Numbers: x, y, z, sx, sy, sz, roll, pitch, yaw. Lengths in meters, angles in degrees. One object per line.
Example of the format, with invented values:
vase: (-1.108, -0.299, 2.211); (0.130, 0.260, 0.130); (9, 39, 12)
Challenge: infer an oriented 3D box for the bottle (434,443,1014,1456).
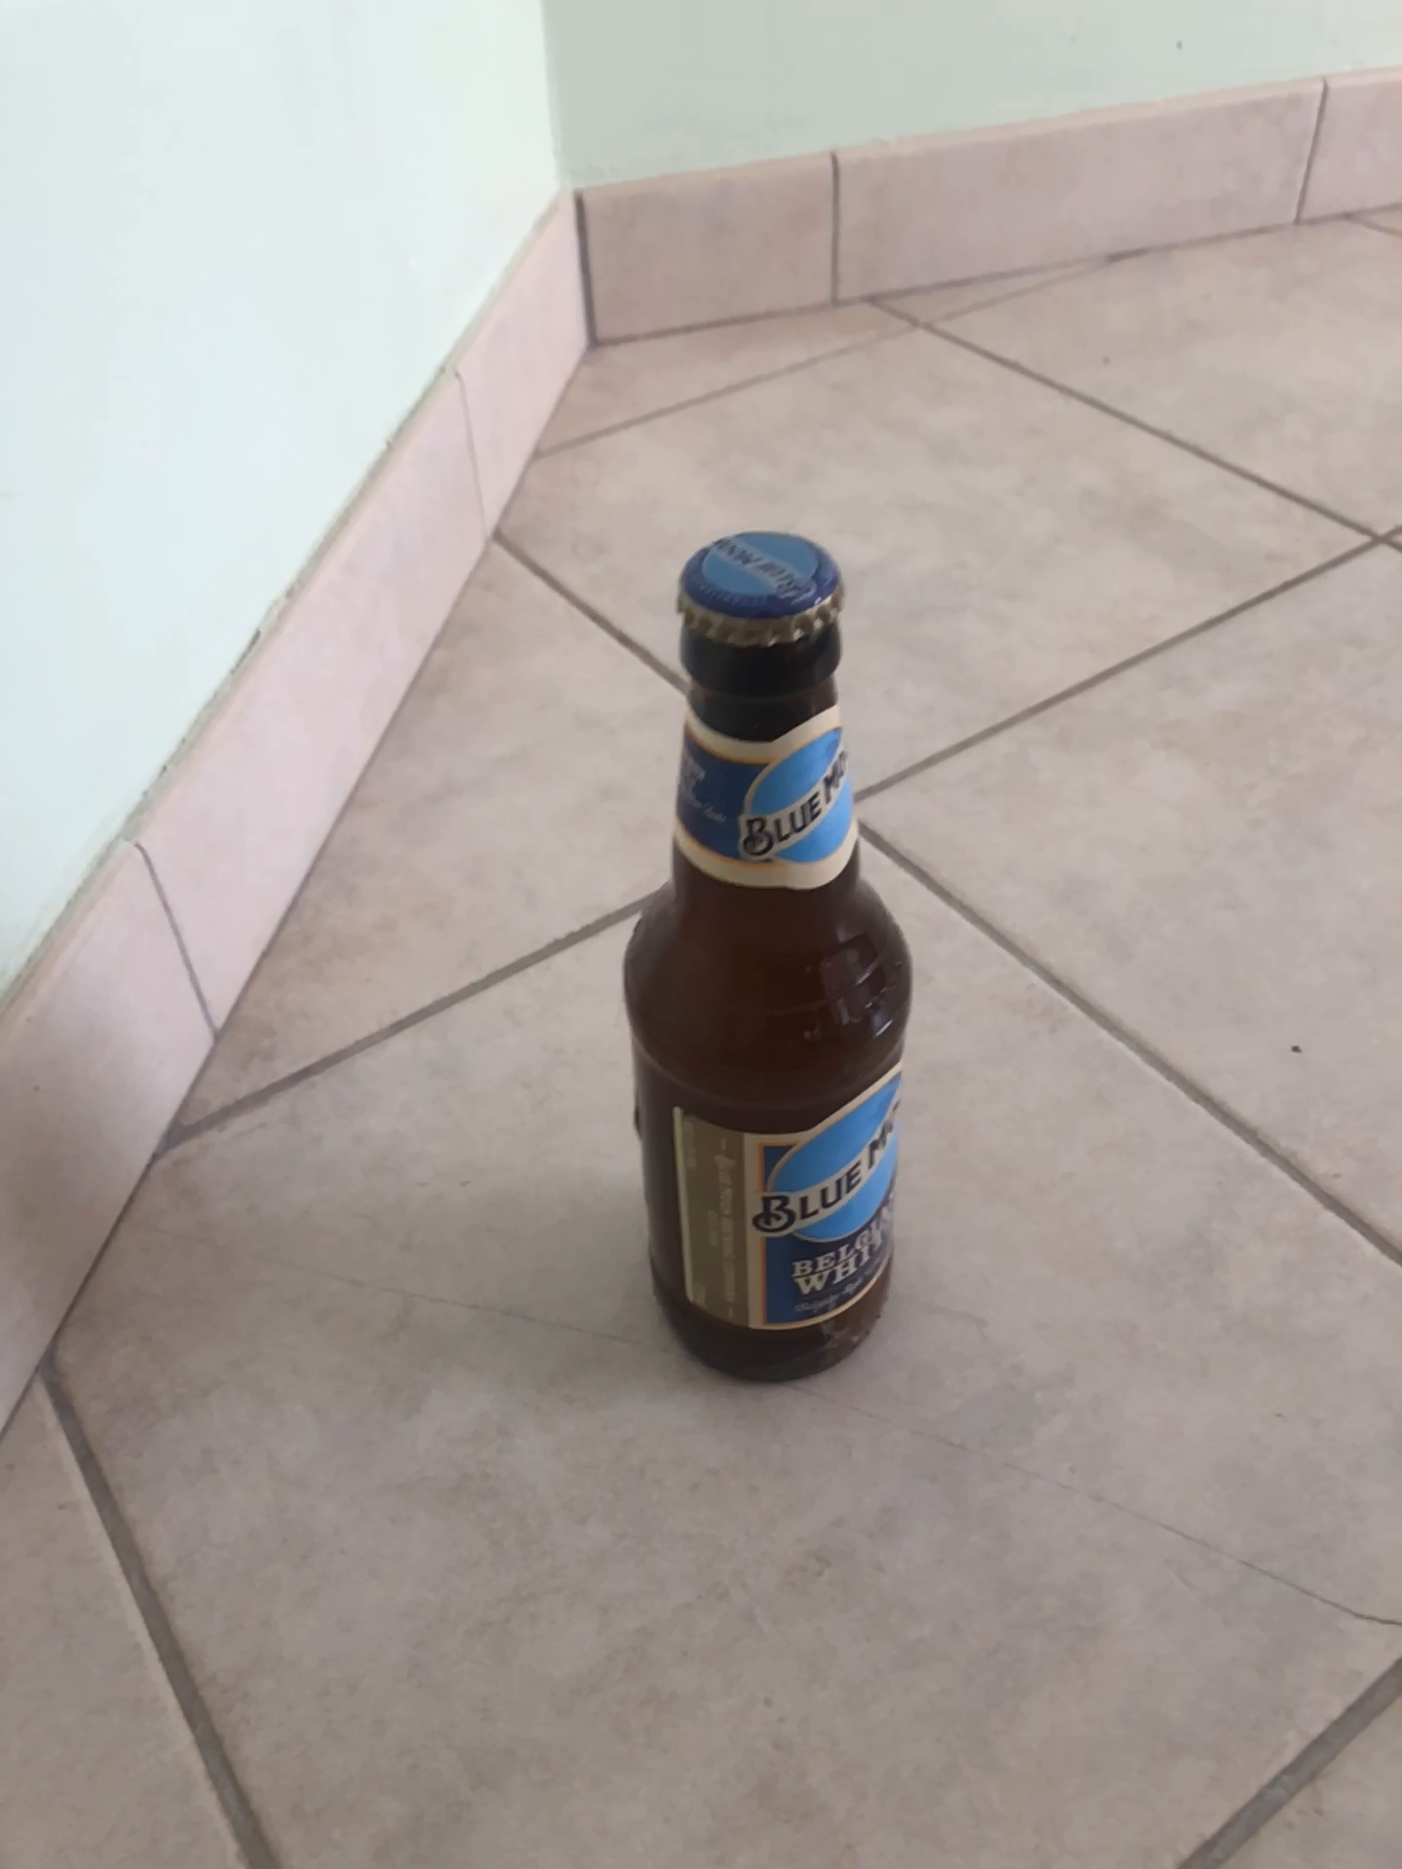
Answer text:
bottle: (0.007, 0.015, 0.336); (0.070, 0.209, 0.070); (-1, 43, 1)
